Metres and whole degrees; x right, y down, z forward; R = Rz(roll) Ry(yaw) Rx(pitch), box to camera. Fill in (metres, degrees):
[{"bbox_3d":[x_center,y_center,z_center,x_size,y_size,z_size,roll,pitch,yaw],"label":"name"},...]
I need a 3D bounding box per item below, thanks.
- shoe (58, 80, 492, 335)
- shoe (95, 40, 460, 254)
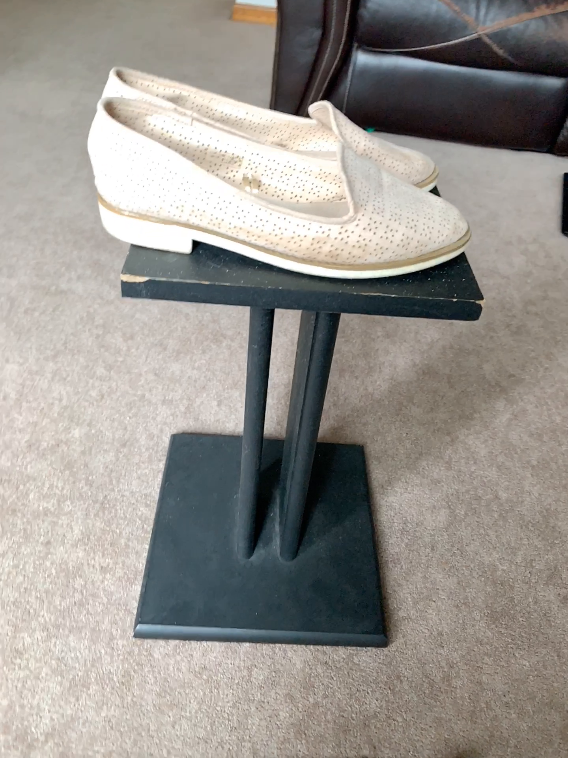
[{"bbox_3d":[-0.006,-0.110,0.384,0.250,0.079,0.081,12,44,-6],"label":"shoe"},{"bbox_3d":[-0.007,-0.171,0.445,0.250,0.079,0.081,6,43,-15],"label":"shoe"}]
